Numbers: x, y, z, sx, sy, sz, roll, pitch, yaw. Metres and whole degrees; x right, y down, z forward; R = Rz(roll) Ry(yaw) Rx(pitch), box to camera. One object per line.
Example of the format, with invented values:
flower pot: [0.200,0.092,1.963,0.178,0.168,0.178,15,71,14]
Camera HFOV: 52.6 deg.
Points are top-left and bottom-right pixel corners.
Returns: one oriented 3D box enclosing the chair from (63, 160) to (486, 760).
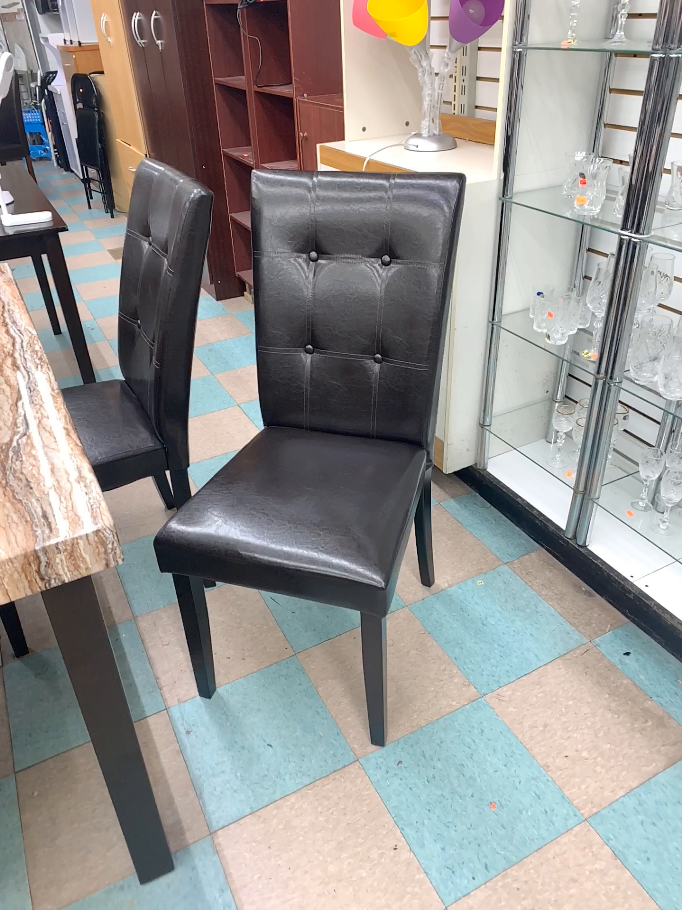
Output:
chair: [-0.033,-0.012,1.335,0.469,0.939,0.575,9,34,19]
